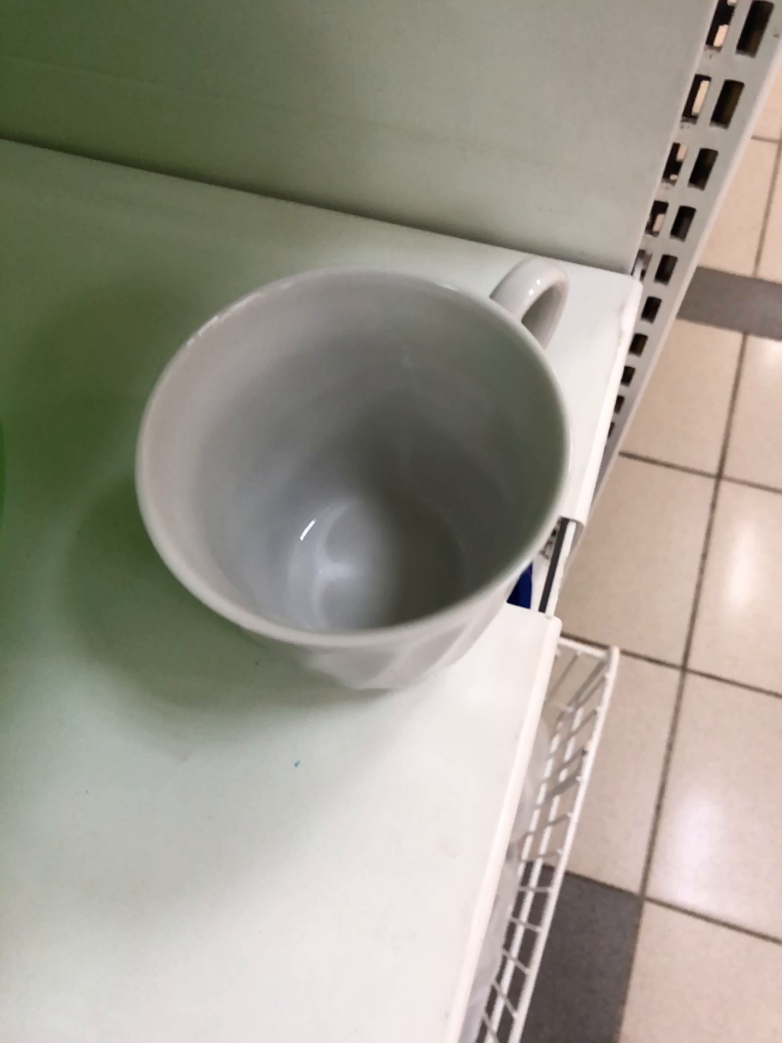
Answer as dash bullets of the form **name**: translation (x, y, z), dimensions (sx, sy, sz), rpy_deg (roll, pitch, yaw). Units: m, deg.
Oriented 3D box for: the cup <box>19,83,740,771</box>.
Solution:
- **cup**: translation (0.000, -0.020, 0.214), dimensions (0.090, 0.080, 0.119), rpy_deg (41, 76, 17)
